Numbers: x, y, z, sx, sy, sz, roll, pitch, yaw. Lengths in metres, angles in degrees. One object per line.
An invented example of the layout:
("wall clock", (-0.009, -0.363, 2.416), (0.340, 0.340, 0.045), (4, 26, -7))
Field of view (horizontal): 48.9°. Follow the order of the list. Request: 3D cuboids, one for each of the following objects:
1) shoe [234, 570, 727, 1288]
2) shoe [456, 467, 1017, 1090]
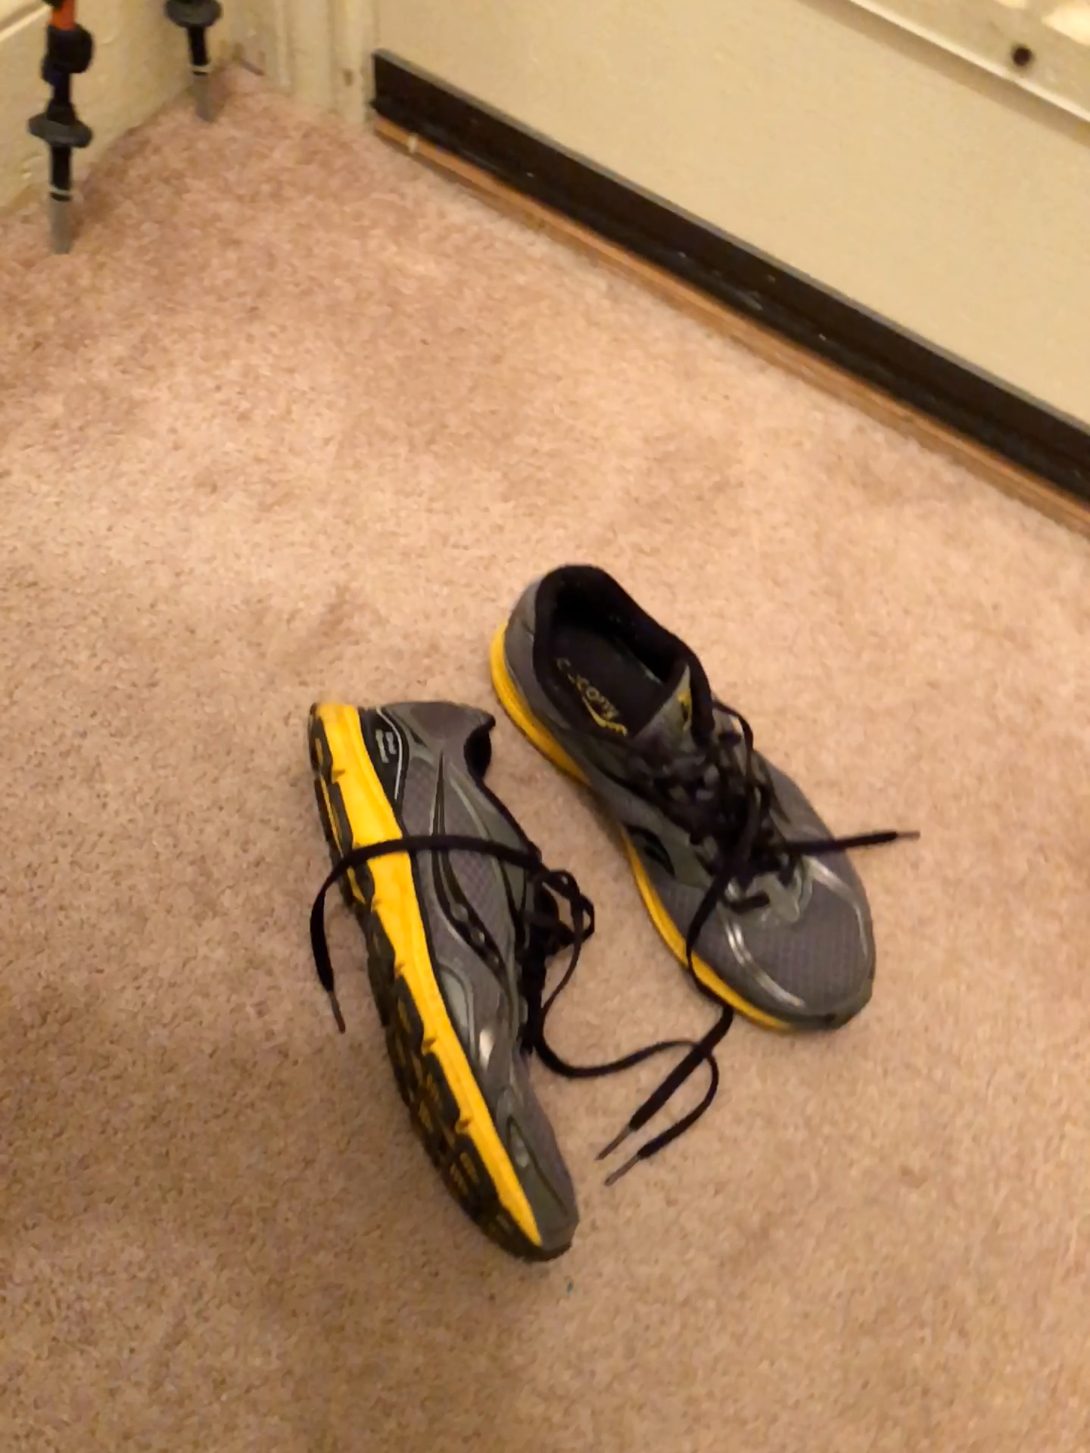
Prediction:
("shoe", (-0.041, 0.091, 0.565), (0.109, 0.118, 0.294), (-19, 68, -14))
("shoe", (0.082, 0.021, 0.613), (0.118, 0.099, 0.283), (-28, 70, -20))
